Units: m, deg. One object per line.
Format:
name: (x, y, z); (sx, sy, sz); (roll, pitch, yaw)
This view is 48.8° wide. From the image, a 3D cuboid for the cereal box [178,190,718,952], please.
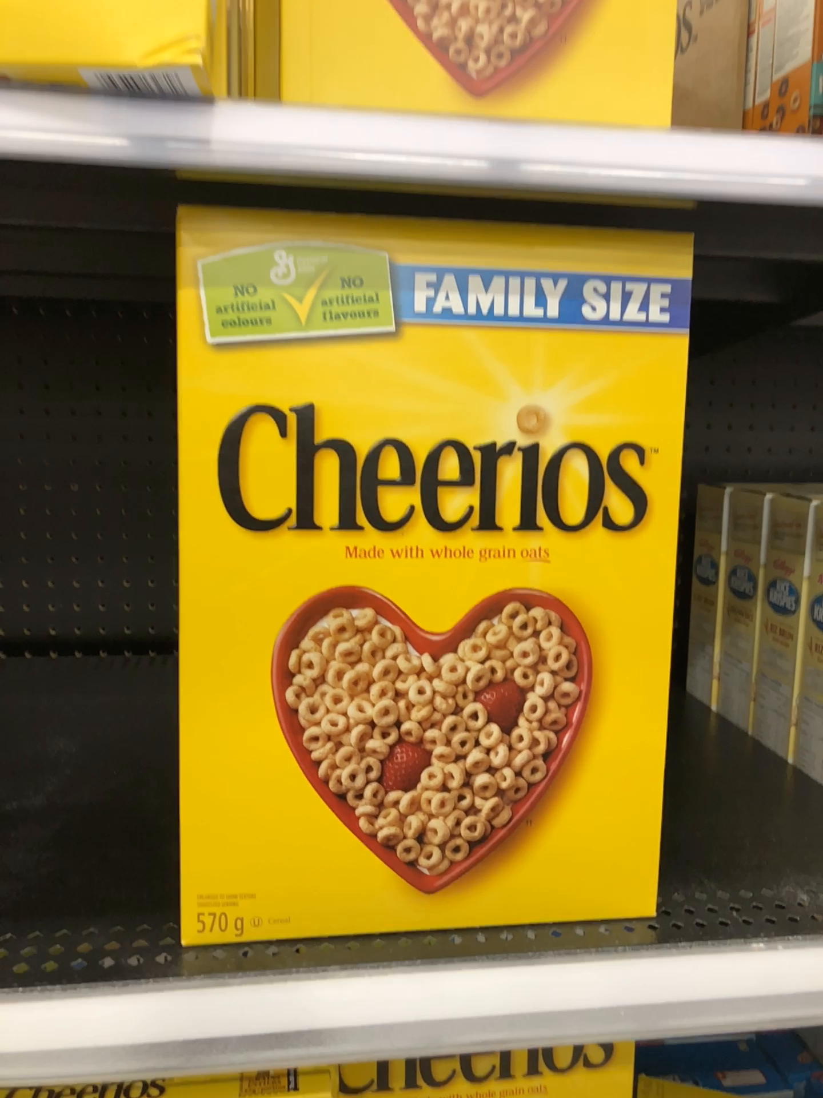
cereal box: (0.009, 0.014, 0.464); (0.240, 0.339, 0.090); (1, 8, -10)
